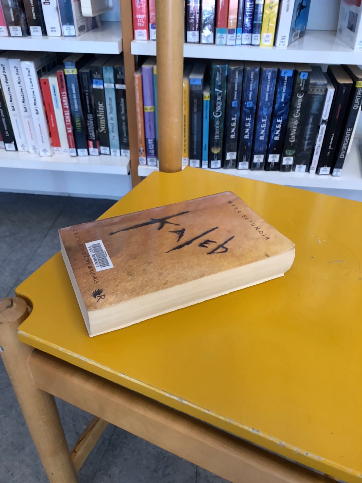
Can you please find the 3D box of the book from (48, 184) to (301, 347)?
[{"bbox_3d":[-0.013,0.009,0.428,0.224,0.043,0.150,-13,38,-19],"label":"book"}]
